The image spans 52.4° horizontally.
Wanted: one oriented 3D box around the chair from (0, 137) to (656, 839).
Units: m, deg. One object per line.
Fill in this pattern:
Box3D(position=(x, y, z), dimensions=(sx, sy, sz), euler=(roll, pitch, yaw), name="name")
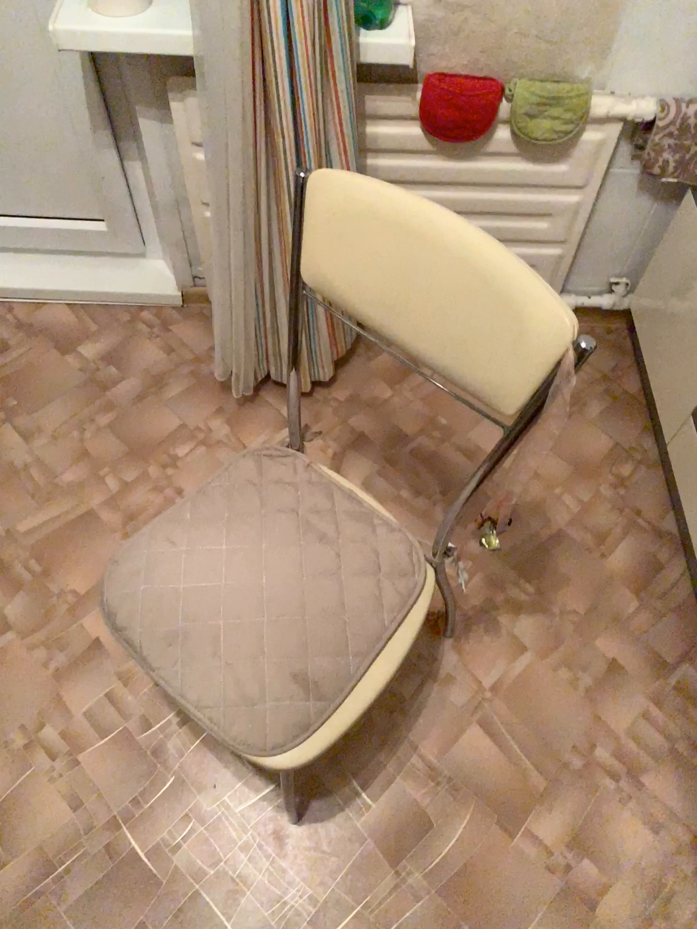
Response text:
Box3D(position=(-0.041, 0.132, 0.970), dimensions=(0.385, 0.855, 0.492), euler=(37, 64, 18), name="chair")
